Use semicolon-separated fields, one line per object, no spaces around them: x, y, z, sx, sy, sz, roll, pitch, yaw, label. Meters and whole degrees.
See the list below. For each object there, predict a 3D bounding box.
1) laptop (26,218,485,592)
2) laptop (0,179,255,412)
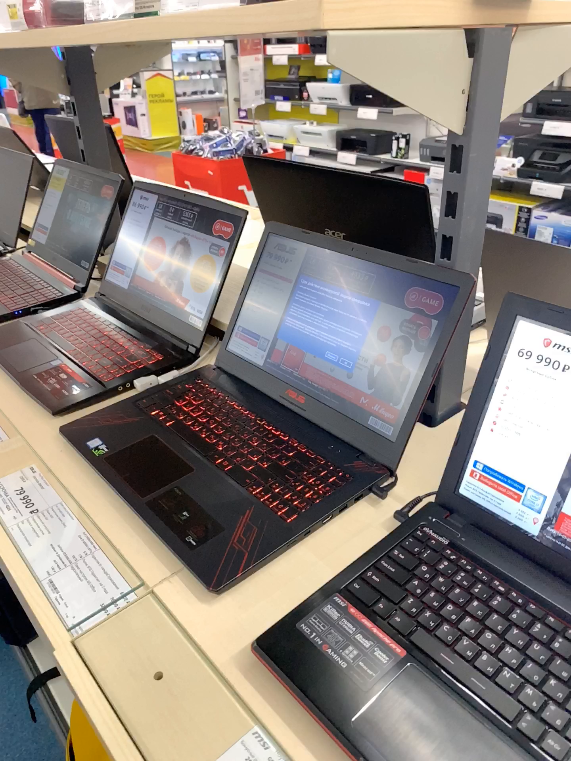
-0.041;-0.028;0.712;0.383;0.199;0.366;-25;36;-33;laptop
-0.304;-0.172;0.971;0.353;0.209;0.340;-25;38;-33;laptop
